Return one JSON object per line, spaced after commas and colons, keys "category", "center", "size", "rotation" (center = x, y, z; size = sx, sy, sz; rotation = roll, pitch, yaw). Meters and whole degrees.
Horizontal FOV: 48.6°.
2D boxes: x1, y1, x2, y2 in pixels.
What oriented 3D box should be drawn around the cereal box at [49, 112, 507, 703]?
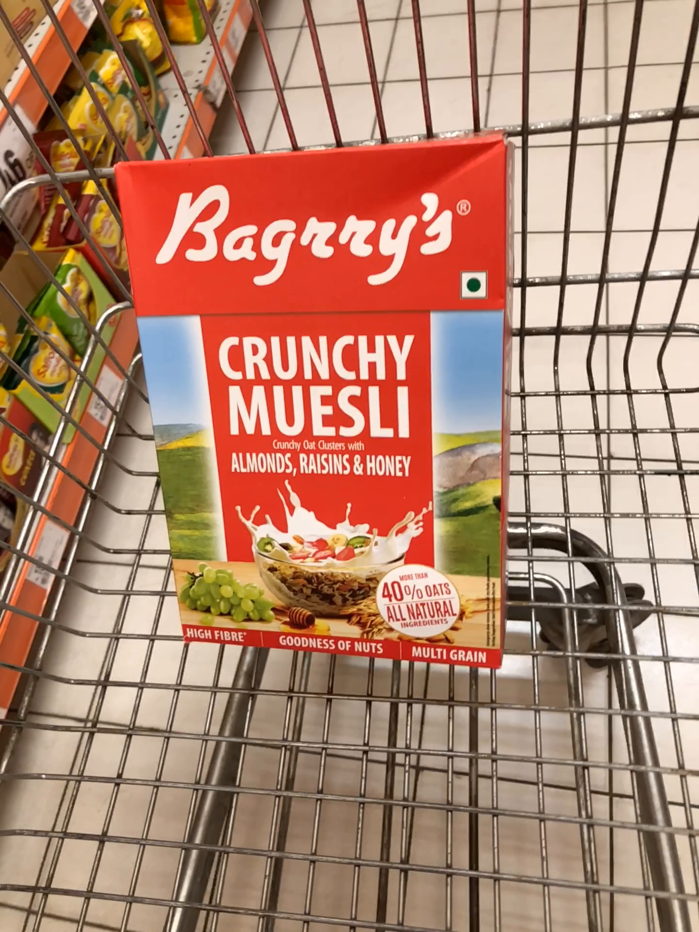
{"category": "cereal box", "center": [-0.020, -0.019, 0.393], "size": [0.190, 0.279, 0.060], "rotation": [1, 25, 13]}
